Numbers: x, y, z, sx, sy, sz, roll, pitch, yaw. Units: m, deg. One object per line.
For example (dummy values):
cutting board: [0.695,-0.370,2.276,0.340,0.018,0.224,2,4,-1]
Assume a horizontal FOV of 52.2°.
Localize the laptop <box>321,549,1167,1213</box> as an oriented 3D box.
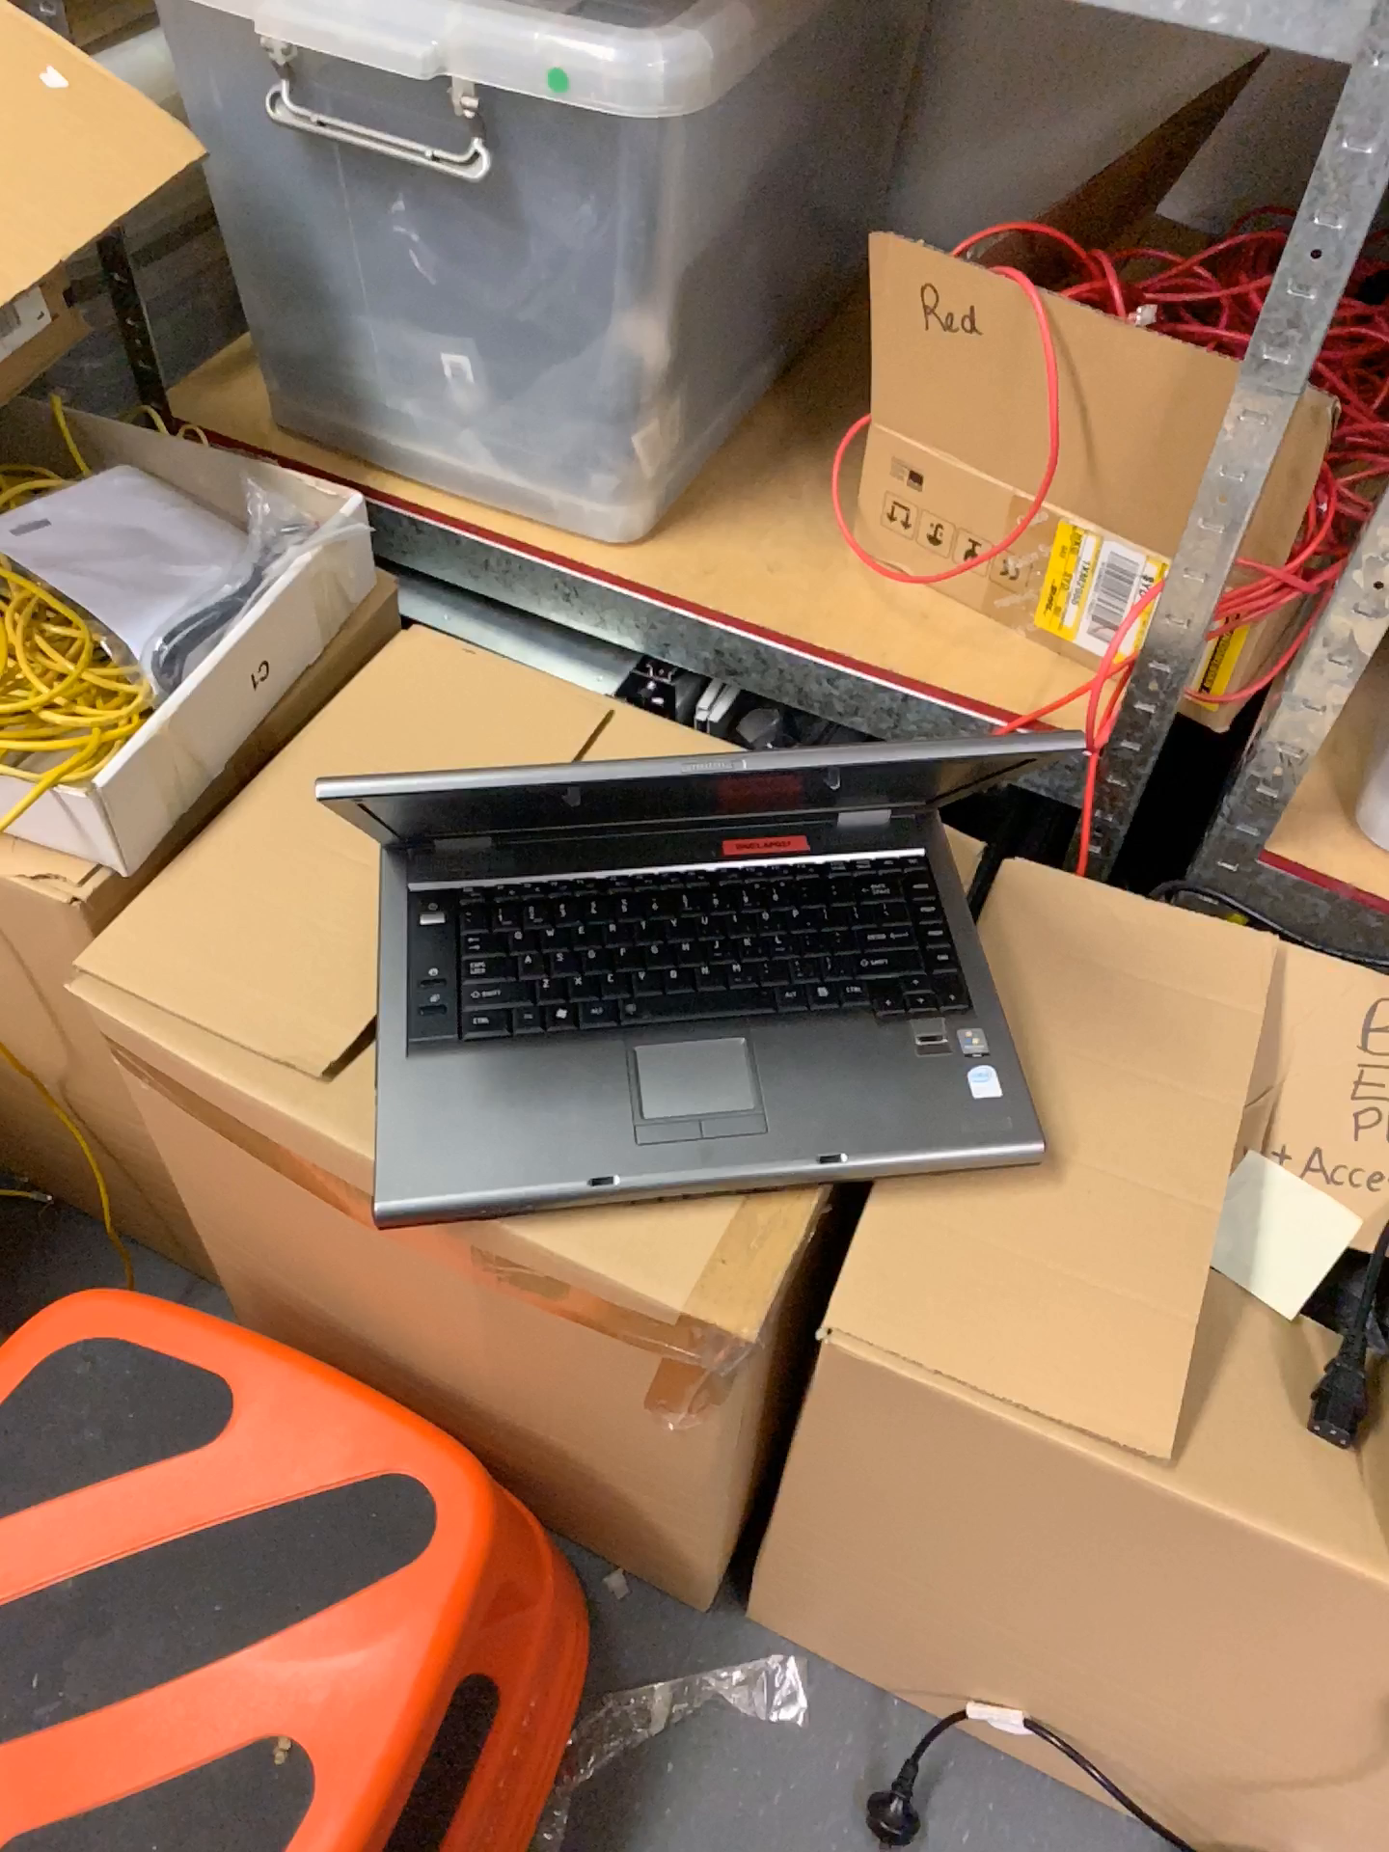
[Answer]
laptop: [0.002,-0.027,0.743,0.352,0.203,0.254,-4,51,-6]
